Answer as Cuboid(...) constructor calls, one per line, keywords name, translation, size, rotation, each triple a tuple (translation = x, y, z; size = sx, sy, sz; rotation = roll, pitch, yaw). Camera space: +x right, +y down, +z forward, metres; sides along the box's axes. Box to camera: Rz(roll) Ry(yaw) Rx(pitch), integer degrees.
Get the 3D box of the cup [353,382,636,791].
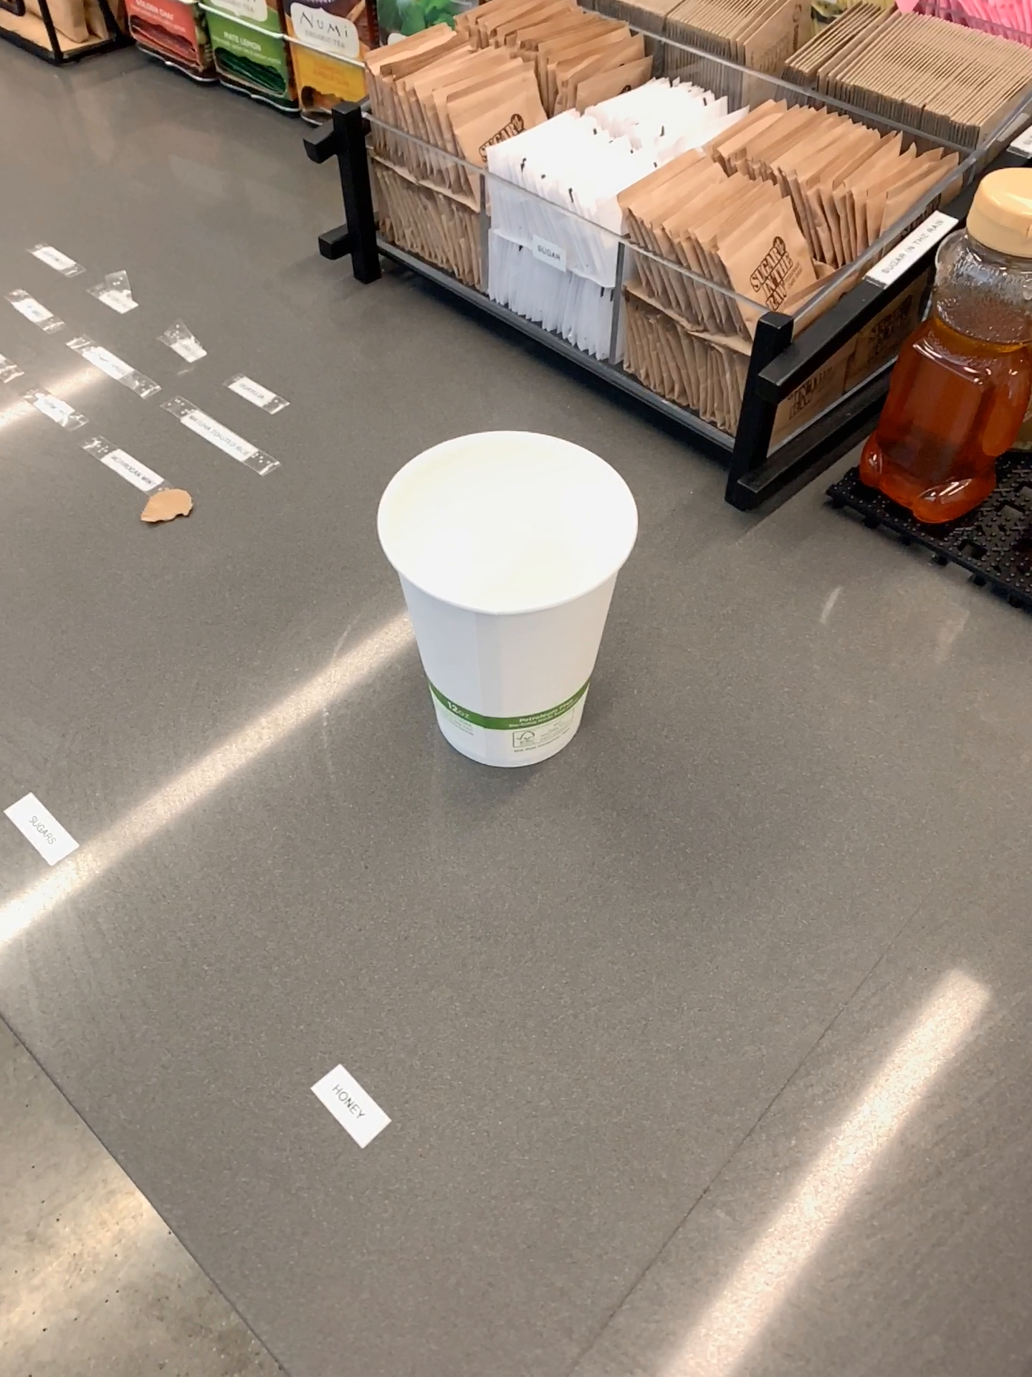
Cuboid(name="cup", translation=(-0.010, -0.034, 0.390), size=(0.080, 0.119, 0.080), rotation=(0, 51, 0))
